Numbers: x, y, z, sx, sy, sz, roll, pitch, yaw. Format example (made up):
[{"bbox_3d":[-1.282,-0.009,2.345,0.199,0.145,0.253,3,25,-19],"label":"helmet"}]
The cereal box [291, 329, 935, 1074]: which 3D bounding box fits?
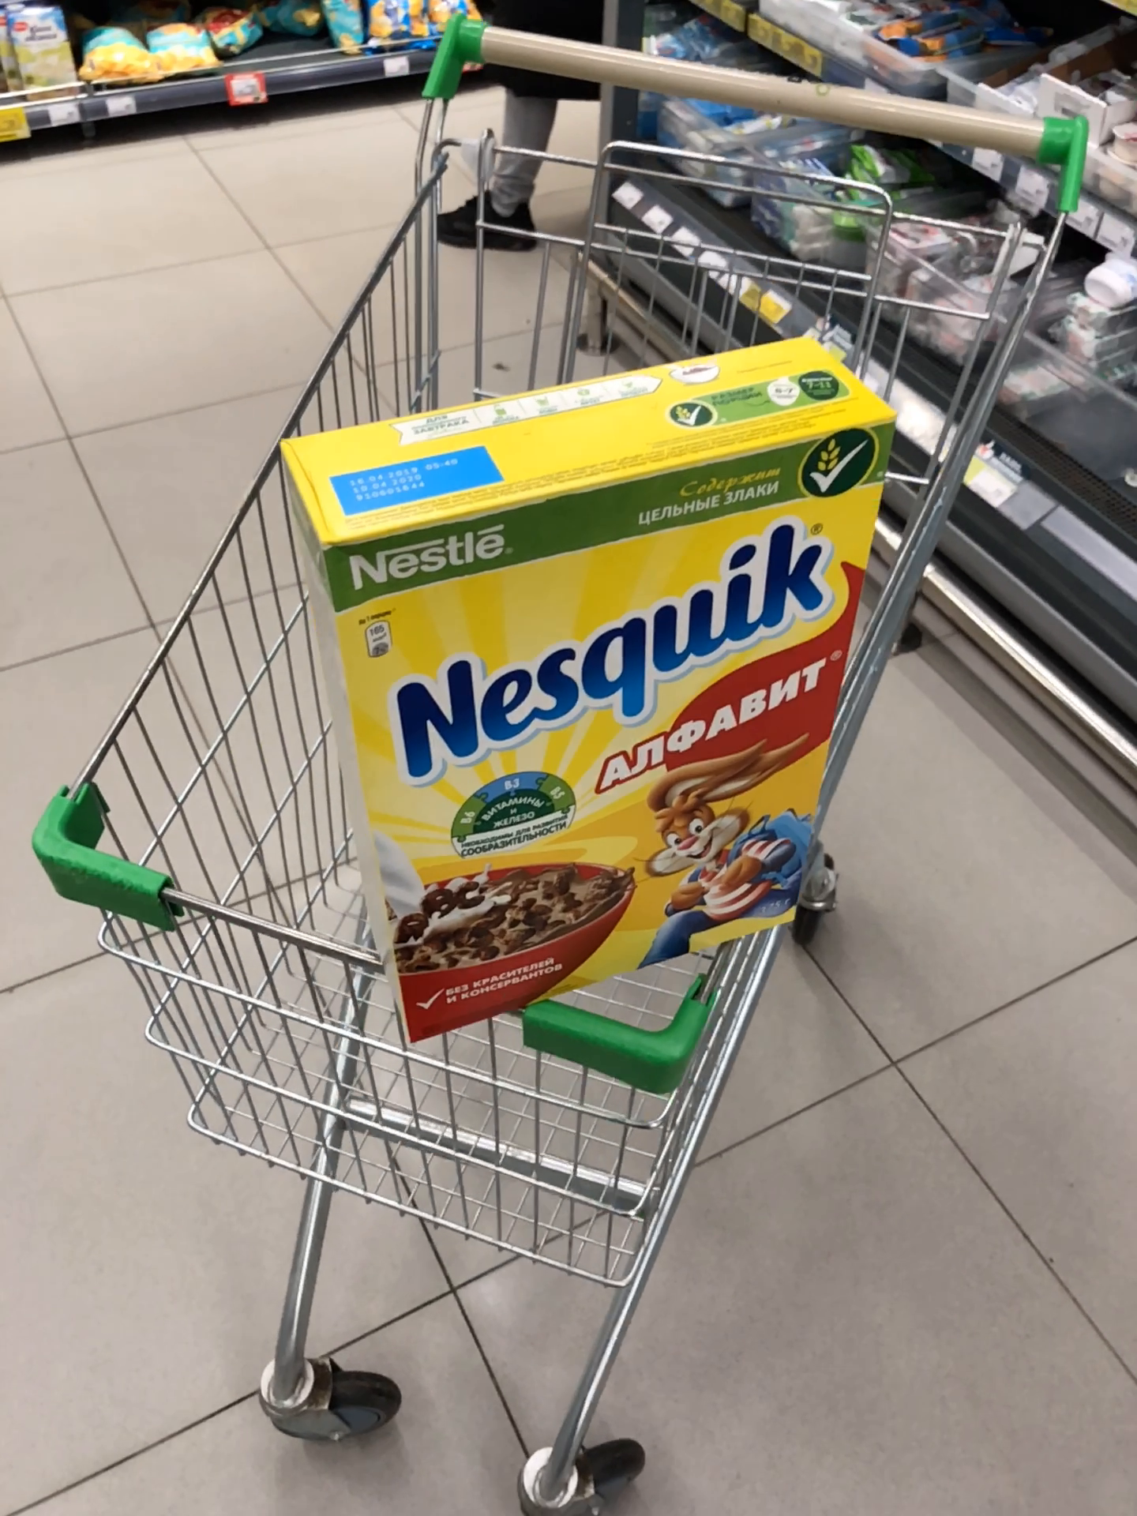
[{"bbox_3d":[0.014,-0.007,0.504,0.200,0.289,0.060,-16,48,-17],"label":"cereal box"}]
